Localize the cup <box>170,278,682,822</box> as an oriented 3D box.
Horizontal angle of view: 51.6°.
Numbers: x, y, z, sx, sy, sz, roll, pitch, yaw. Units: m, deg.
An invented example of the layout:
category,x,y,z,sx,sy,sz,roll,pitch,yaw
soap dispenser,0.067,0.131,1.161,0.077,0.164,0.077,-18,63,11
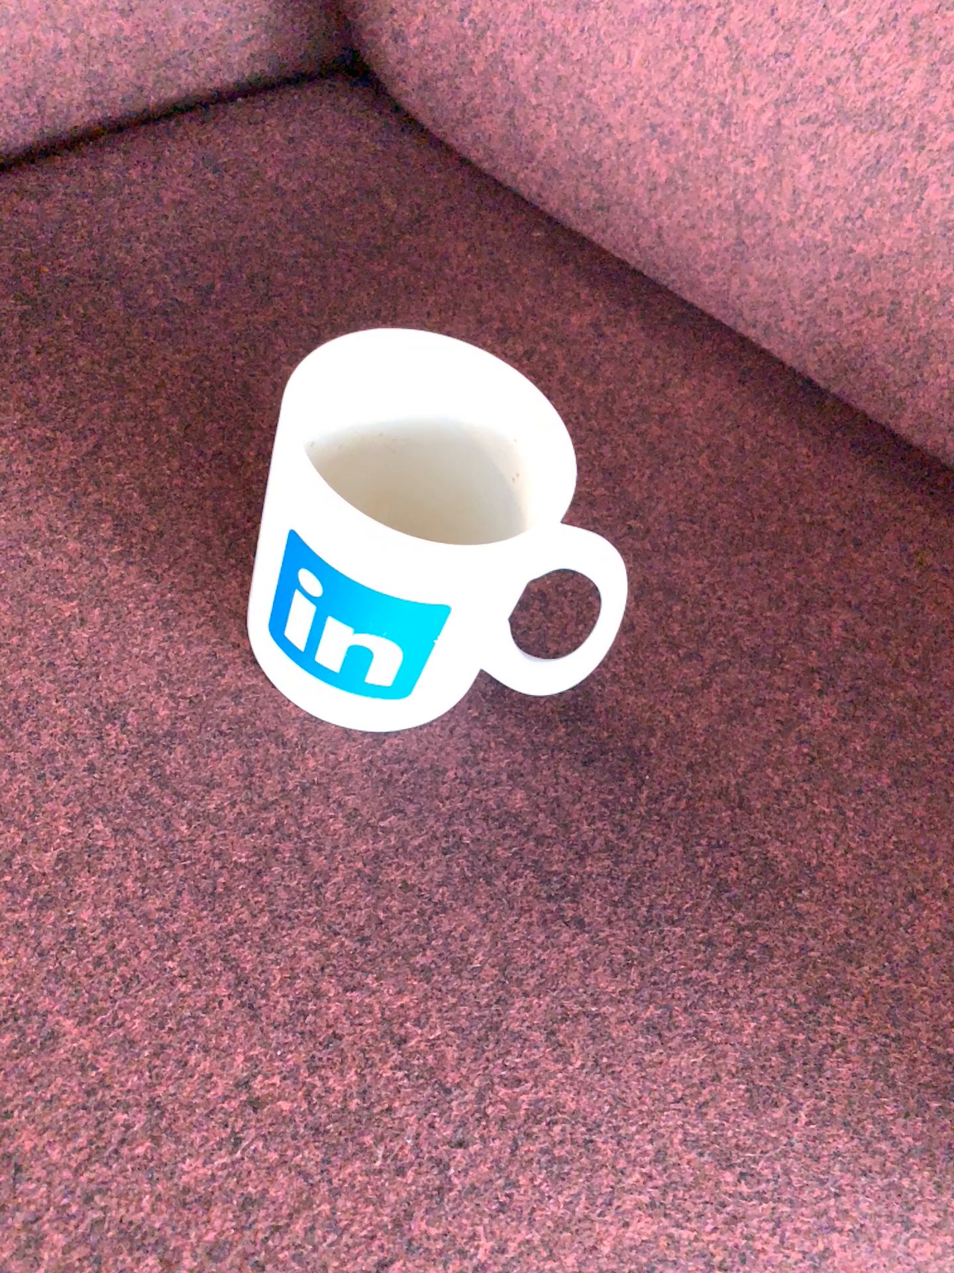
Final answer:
category,x,y,z,sx,sy,sz,roll,pitch,yaw
cup,-0.018,-0.022,0.274,0.104,0.089,0.075,27,51,4
